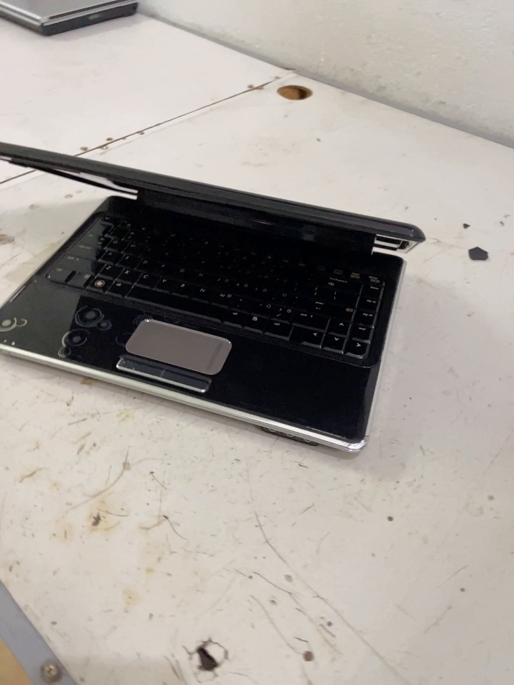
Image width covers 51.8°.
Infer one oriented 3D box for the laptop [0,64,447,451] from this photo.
[{"bbox_3d":[-0.040,-0.092,0.437,0.327,0.137,0.232,15,49,12],"label":"laptop"}]
